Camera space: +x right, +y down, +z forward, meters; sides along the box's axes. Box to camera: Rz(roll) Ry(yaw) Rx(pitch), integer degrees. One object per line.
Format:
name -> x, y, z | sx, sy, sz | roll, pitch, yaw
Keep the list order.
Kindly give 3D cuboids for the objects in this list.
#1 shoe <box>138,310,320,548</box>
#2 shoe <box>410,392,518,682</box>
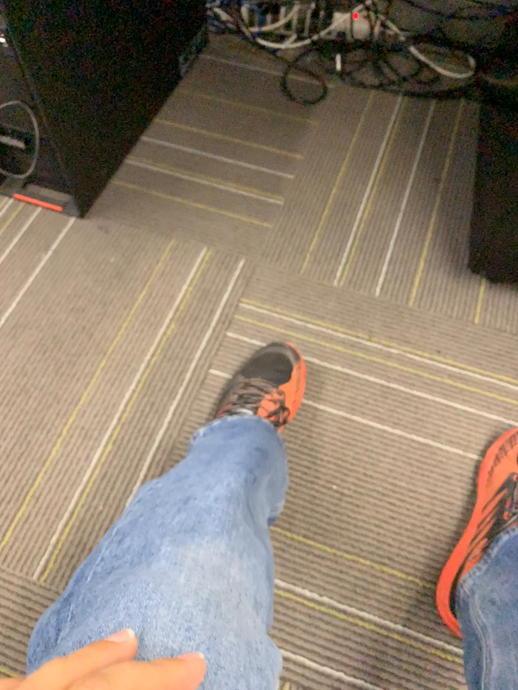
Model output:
shoe -> -0.029, 0.104, 0.760 | 0.132, 0.090, 0.305 | 7, 59, 26
shoe -> 0.328, 0.233, 0.694 | 0.140, 0.090, 0.302 | 30, 64, 2
